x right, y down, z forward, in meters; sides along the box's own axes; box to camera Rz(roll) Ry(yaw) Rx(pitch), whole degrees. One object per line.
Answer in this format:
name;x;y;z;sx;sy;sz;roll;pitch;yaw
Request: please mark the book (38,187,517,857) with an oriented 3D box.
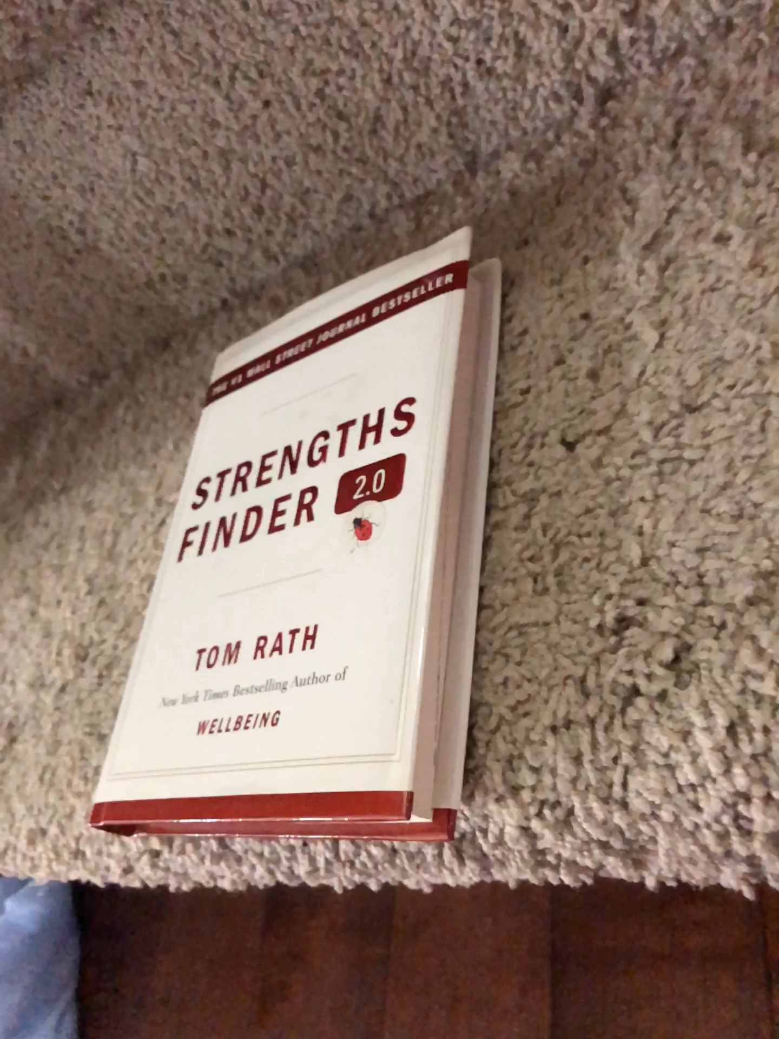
book;-0.031;0.002;0.273;0.137;0.029;0.190;-16;54;36
